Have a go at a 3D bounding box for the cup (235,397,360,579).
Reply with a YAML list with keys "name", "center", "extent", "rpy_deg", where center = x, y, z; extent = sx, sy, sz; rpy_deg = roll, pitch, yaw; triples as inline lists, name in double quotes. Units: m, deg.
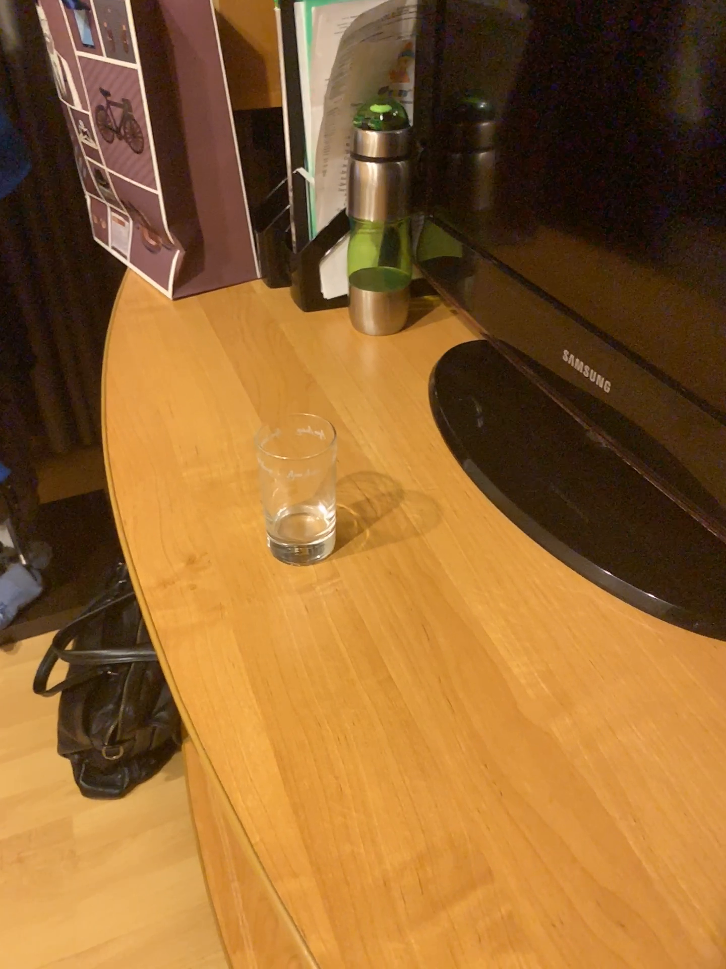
- name: "cup"
  center: [-0.043, 0.002, 0.531]
  extent: [0.060, 0.099, 0.060]
  rpy_deg: [0, 37, 0]
